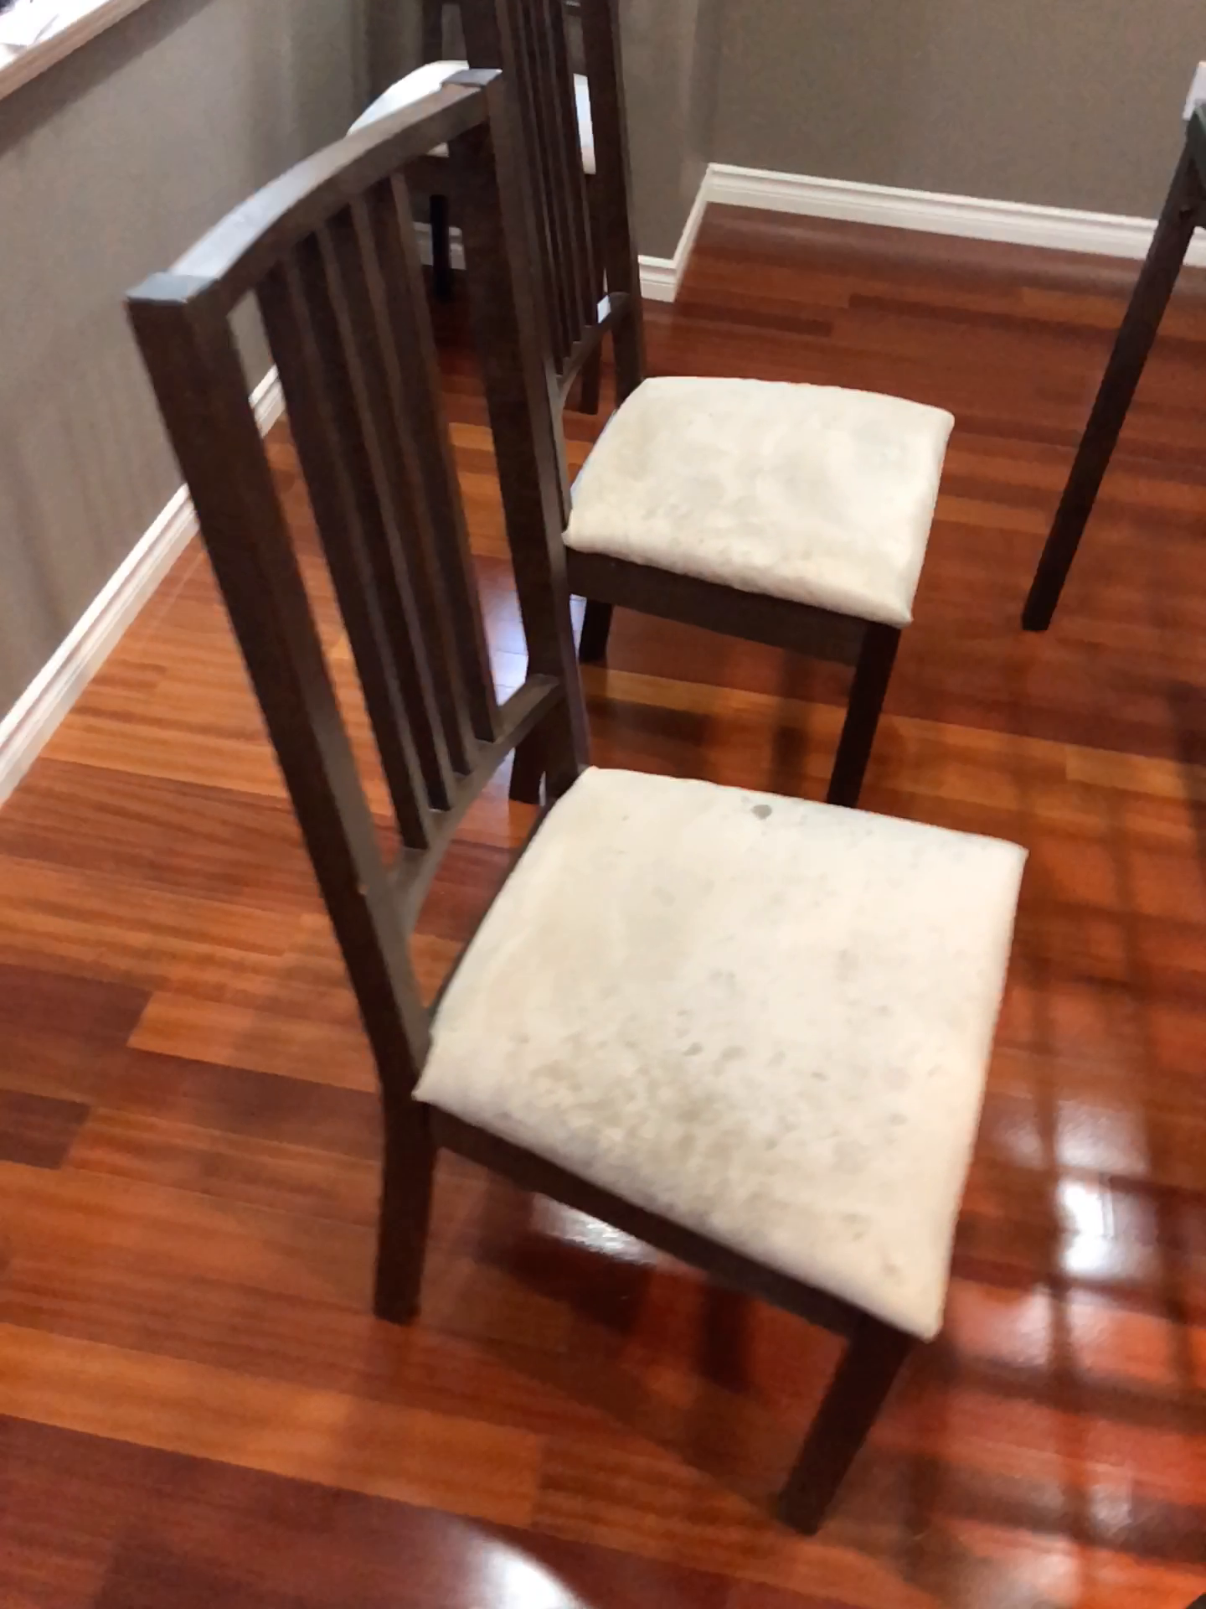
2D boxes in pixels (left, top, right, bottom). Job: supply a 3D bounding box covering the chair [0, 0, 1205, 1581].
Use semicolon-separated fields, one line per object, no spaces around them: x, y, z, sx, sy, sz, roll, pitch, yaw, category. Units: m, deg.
0.063;0.027;0.980;0.540;0.994;0.593;14;46;10;chair
